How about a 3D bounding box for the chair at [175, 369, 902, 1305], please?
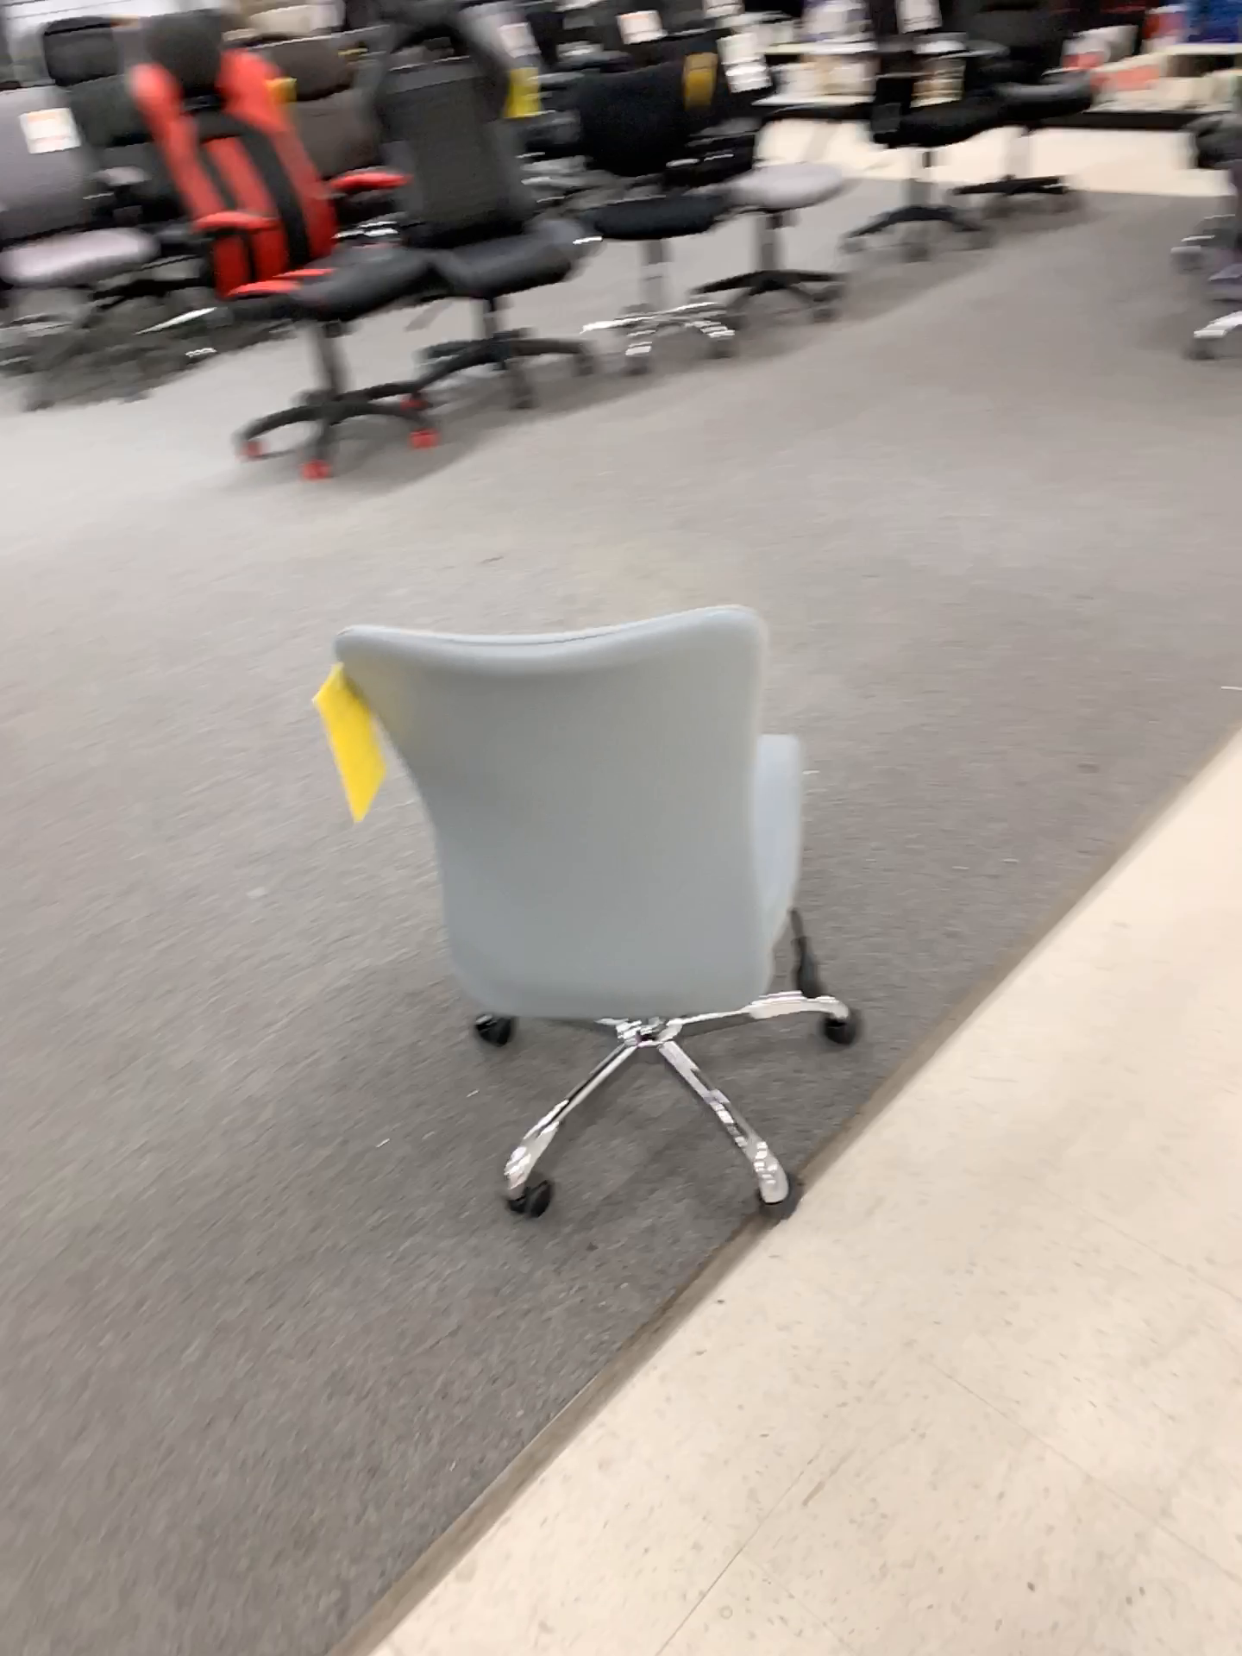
[{"bbox_3d":[0.008,0.006,1.525,0.600,0.875,0.654,1,37,10],"label":"chair"}]
